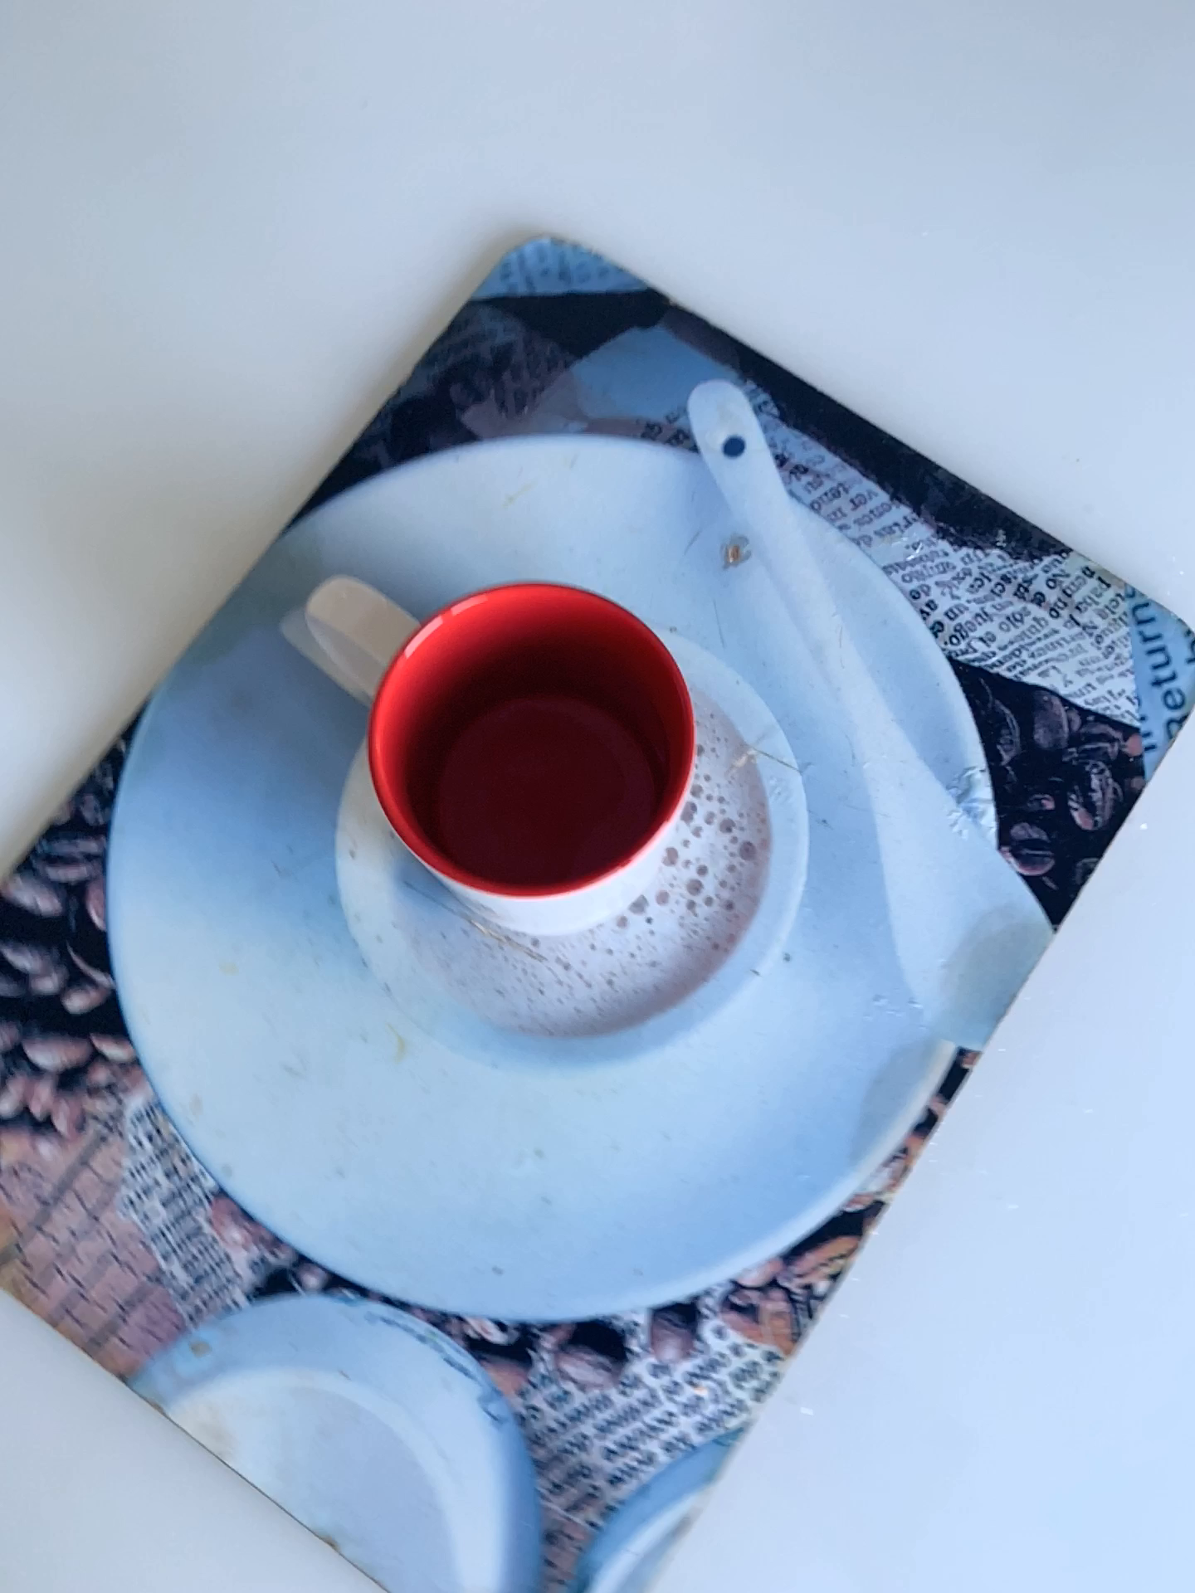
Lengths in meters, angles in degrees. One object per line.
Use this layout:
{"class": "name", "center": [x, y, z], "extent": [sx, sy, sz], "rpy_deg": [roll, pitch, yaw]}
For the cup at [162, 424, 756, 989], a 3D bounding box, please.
{"class": "cup", "center": [-0.033, -0.015, 0.346], "extent": [0.117, 0.115, 0.077], "rpy_deg": [37, 81, 7]}
